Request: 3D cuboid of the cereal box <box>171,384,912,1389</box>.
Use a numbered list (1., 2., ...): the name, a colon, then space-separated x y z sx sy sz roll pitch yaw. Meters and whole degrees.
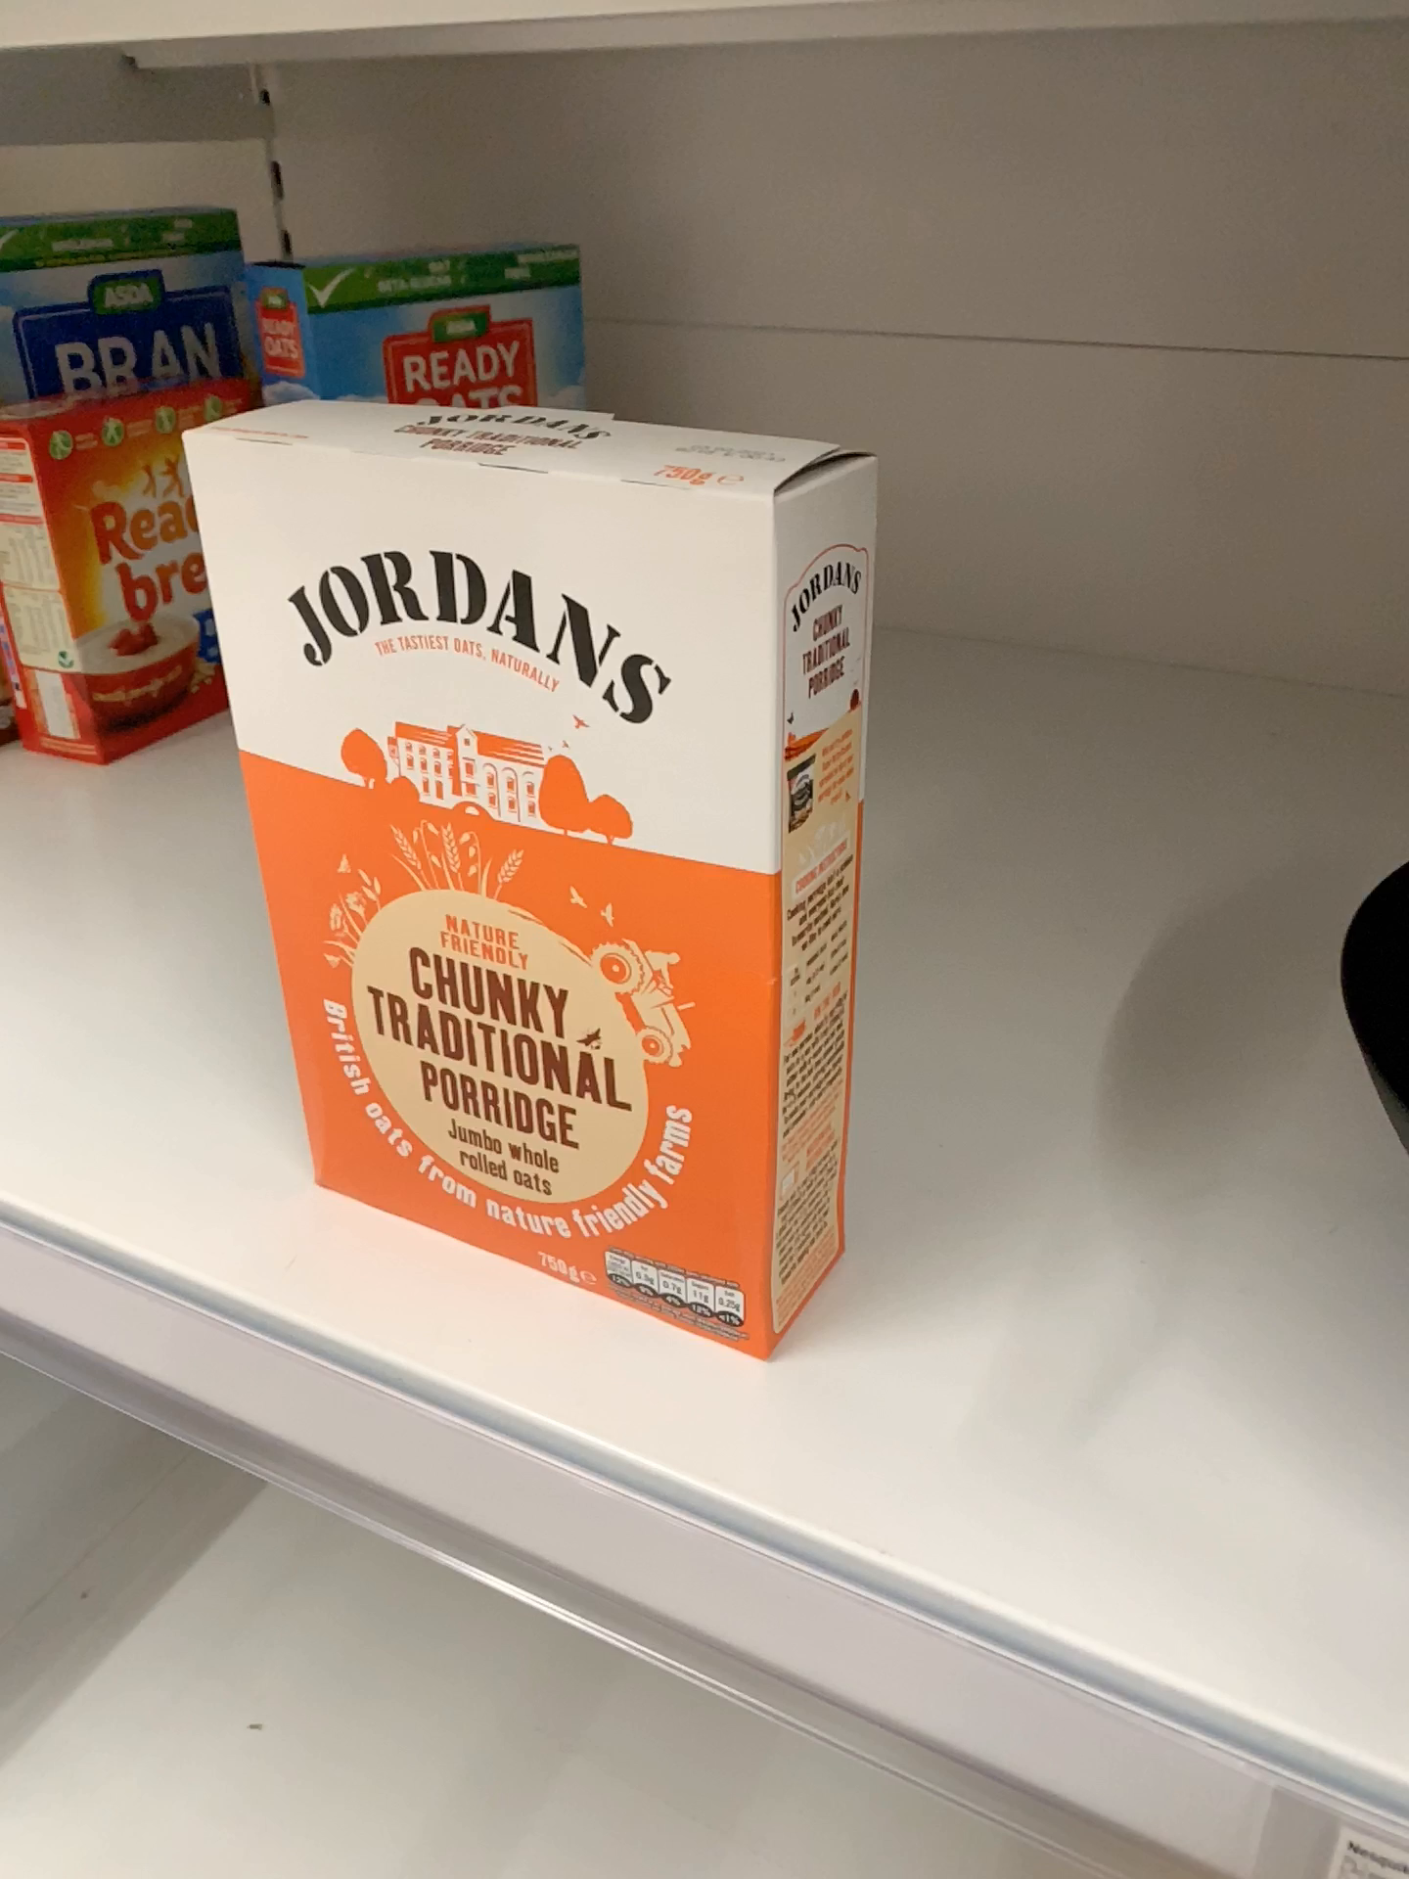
1. cereal box: -0.044 -0.016 0.438 0.190 0.268 0.060 14 32 26
